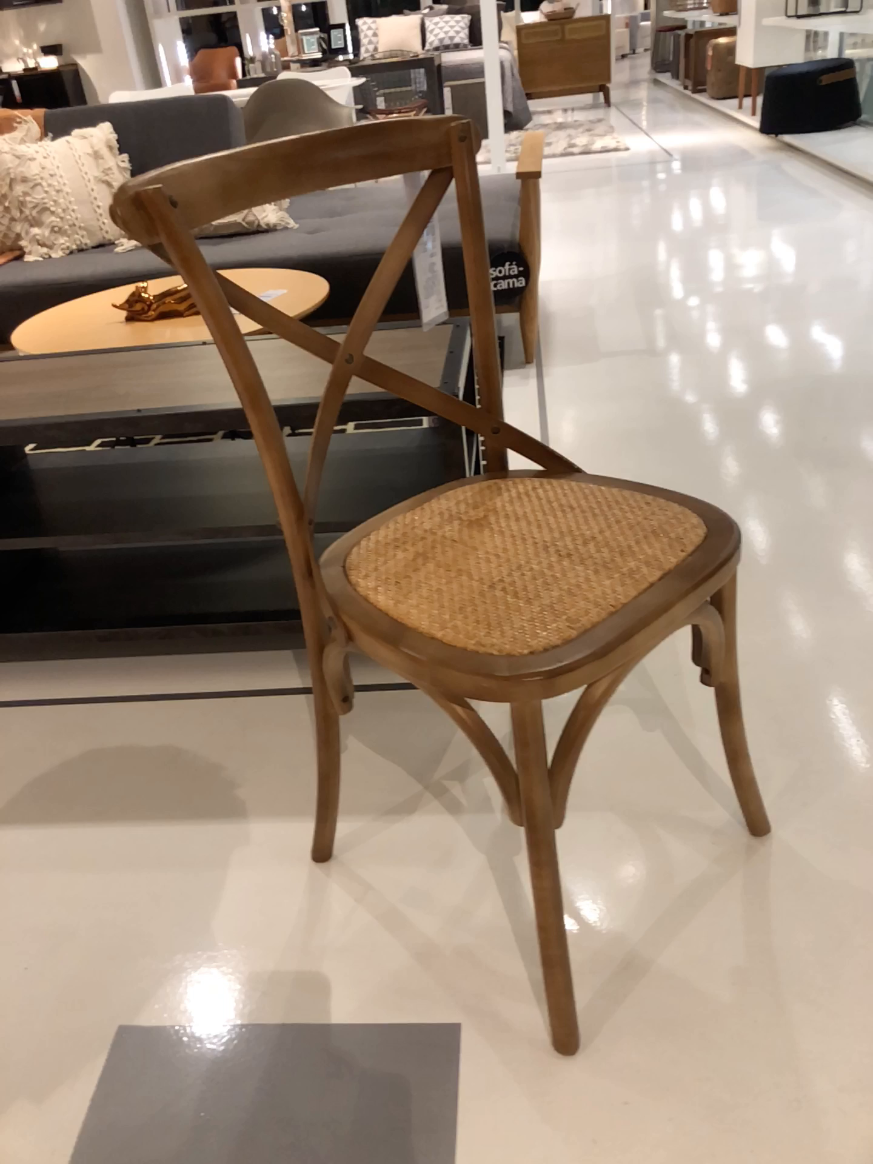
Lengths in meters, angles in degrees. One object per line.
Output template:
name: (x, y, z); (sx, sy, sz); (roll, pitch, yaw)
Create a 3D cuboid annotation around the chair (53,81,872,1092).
chair: (0.053, -0.044, 1.094); (0.572, 0.863, 0.502); (22, 40, 40)
